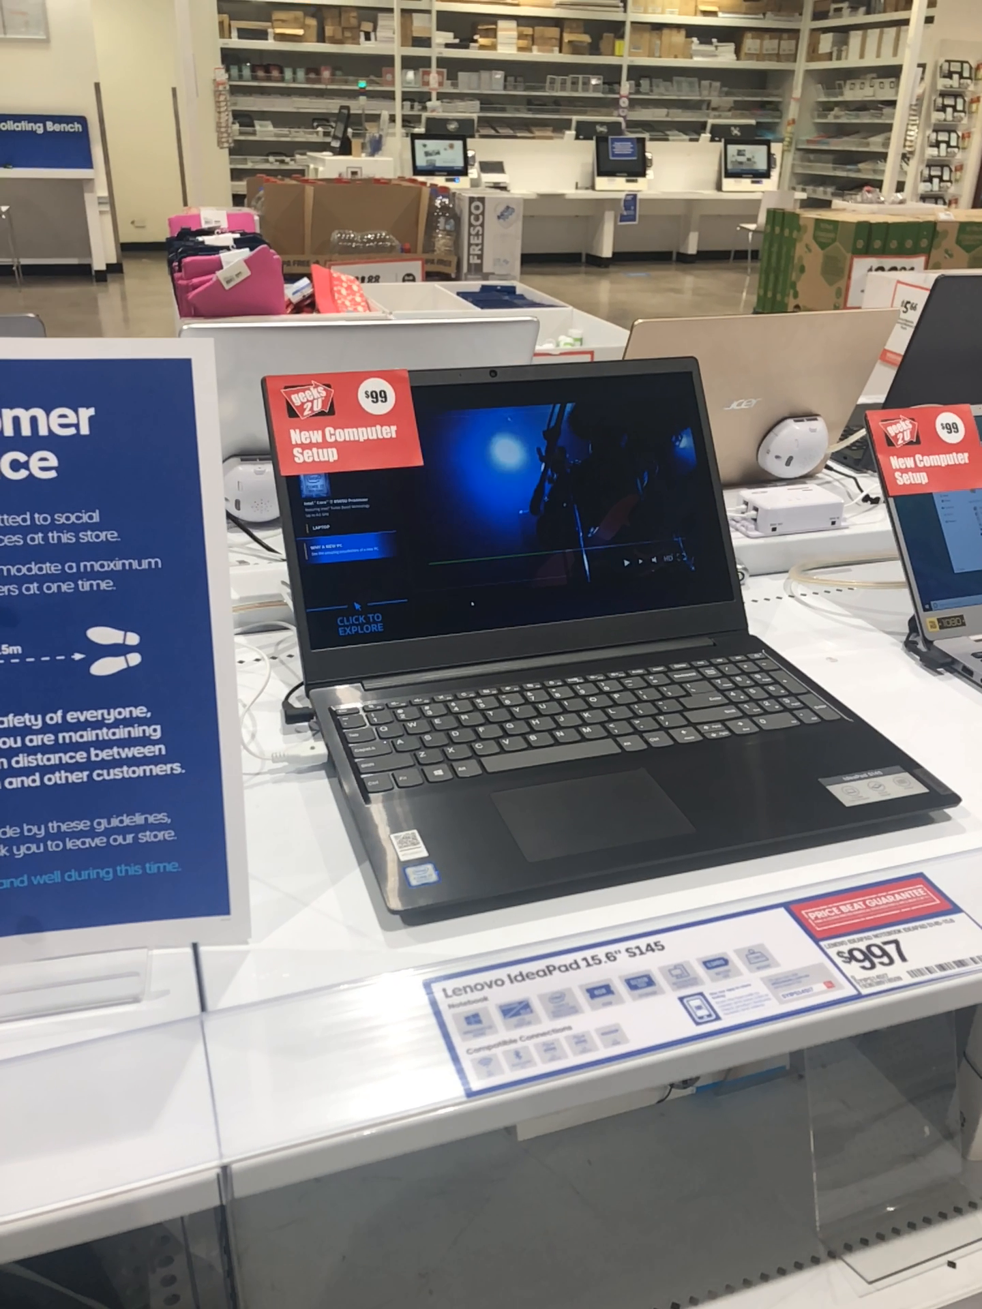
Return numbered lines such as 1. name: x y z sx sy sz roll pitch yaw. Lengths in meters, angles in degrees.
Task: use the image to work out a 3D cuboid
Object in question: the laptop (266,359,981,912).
1. laptop: 0.063 -0.057 0.721 0.353 0.192 0.374 -7 28 -18
